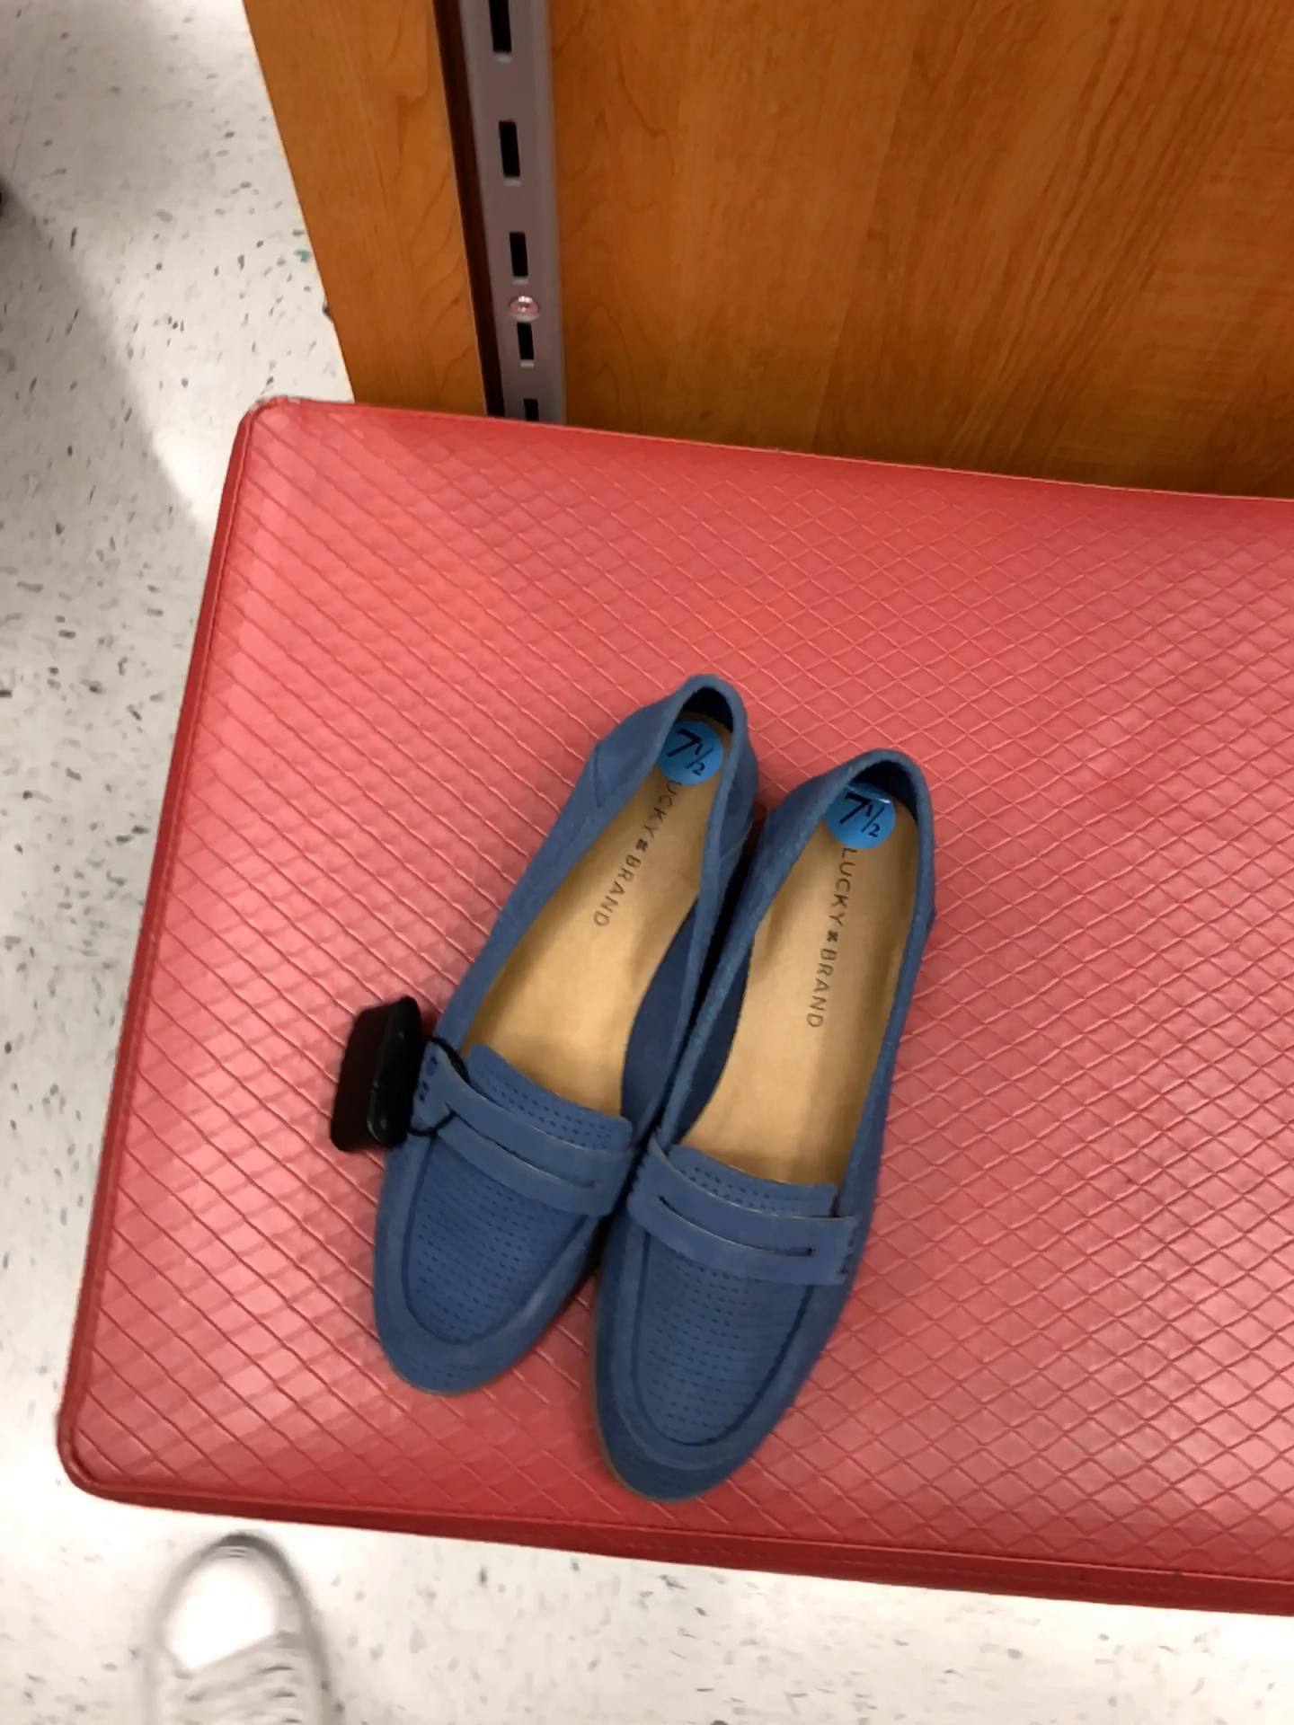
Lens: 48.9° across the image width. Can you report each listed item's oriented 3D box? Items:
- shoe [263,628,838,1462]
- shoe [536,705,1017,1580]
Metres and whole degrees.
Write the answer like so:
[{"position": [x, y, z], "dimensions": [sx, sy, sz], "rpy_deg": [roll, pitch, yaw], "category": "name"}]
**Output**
[{"position": [-0.026, 0.057, 0.484], "dimensions": [0.082, 0.069, 0.253], "rpy_deg": [24, 75, 5], "category": "shoe"}, {"position": [0.045, 0.086, 0.481], "dimensions": [0.085, 0.069, 0.258], "rpy_deg": [17, 74, 3], "category": "shoe"}]
